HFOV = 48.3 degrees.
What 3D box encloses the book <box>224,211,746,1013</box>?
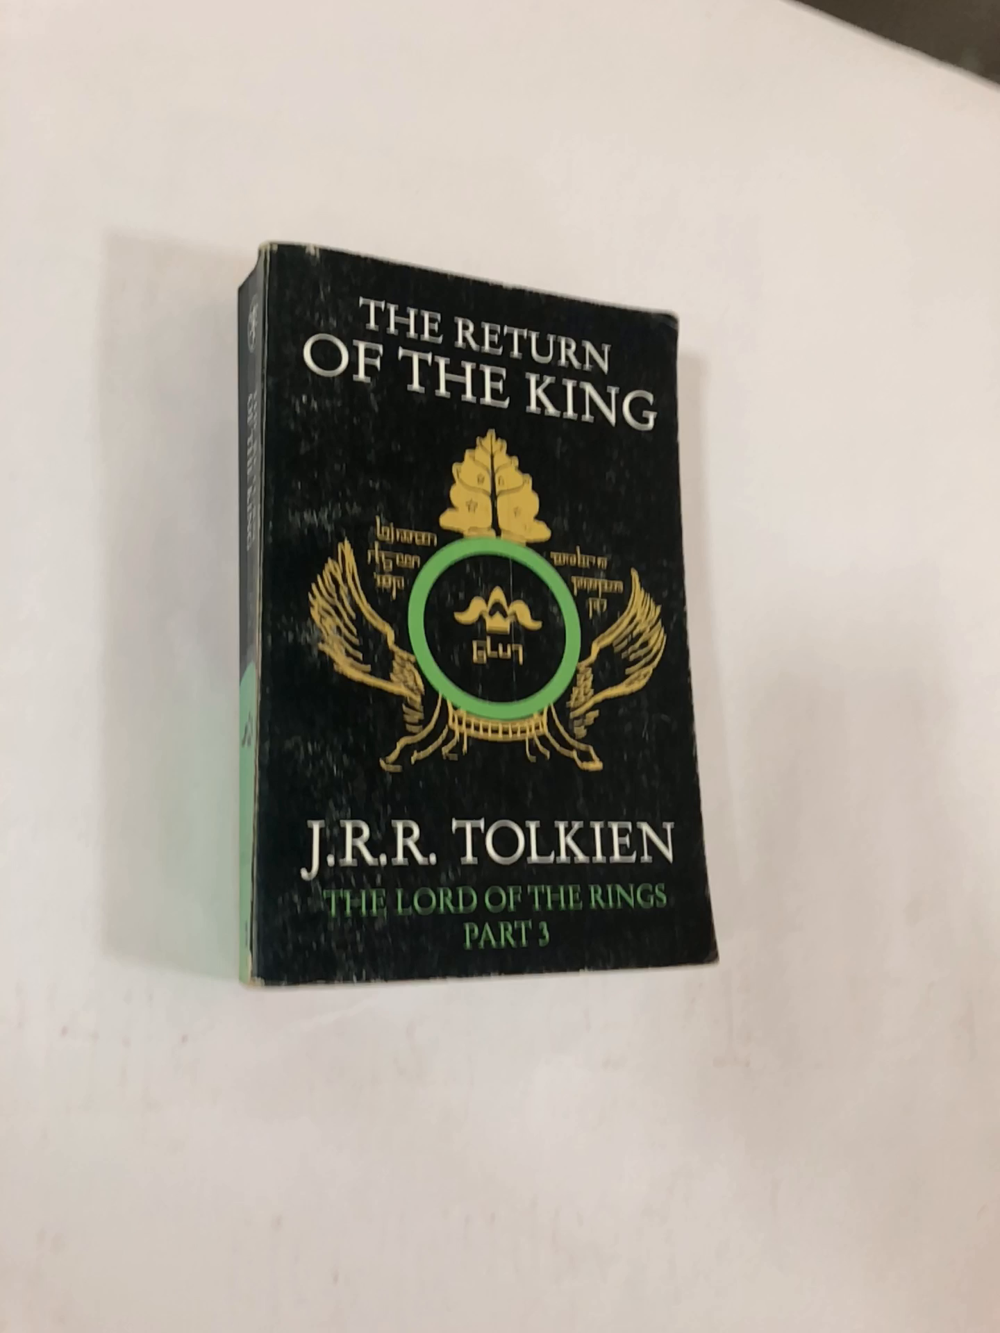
[{"bbox_3d":[-0.006,-0.013,0.312,0.130,0.040,0.200,4,76,-24],"label":"book"}]
